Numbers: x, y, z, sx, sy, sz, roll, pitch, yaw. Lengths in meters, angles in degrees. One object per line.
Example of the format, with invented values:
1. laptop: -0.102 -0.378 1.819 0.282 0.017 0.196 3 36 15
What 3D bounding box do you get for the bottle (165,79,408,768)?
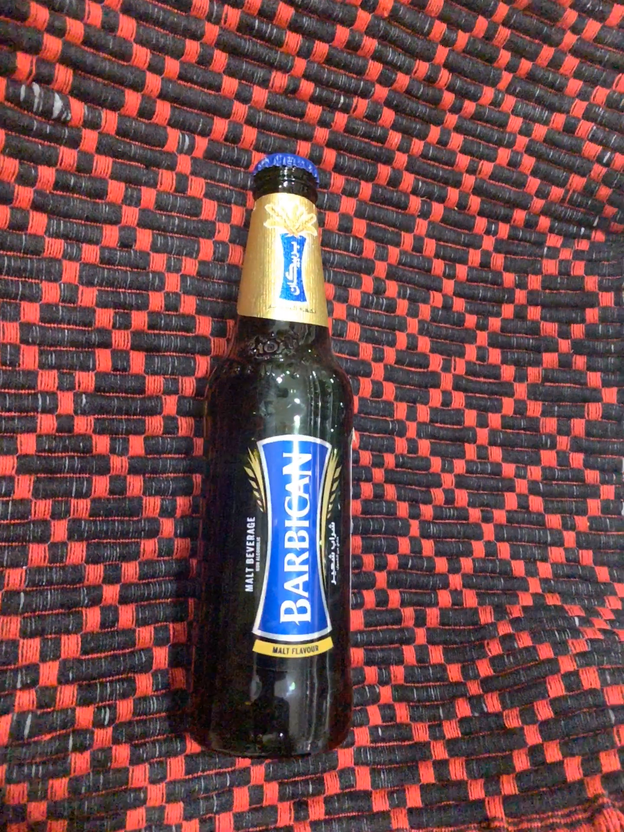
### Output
1. bottle: -0.010 -0.001 0.232 0.060 0.060 0.210 6 77 -27
